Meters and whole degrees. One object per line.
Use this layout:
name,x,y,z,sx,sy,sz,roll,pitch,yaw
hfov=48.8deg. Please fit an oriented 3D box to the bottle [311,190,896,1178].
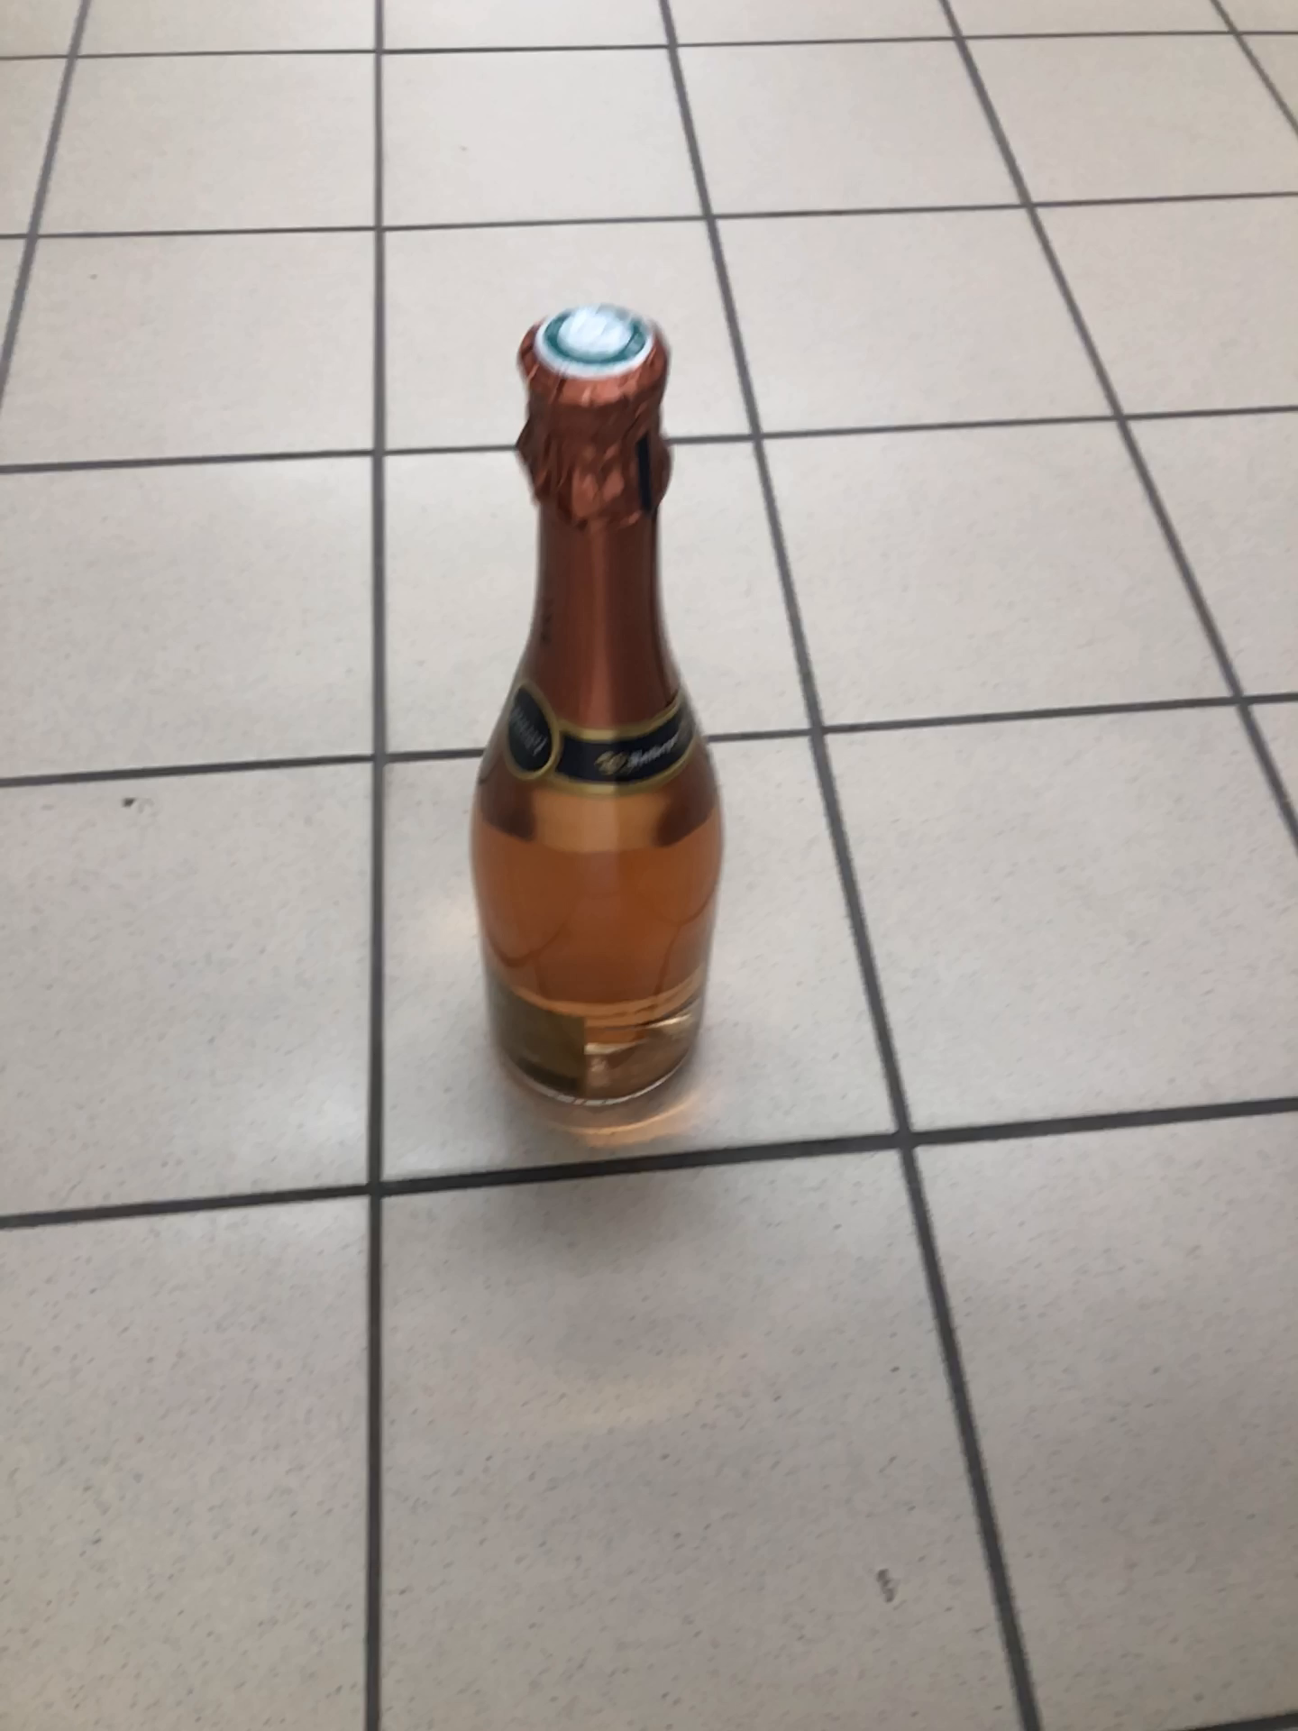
bottle,-0.015,-0.024,0.438,0.090,0.308,0.090,1,55,-2
